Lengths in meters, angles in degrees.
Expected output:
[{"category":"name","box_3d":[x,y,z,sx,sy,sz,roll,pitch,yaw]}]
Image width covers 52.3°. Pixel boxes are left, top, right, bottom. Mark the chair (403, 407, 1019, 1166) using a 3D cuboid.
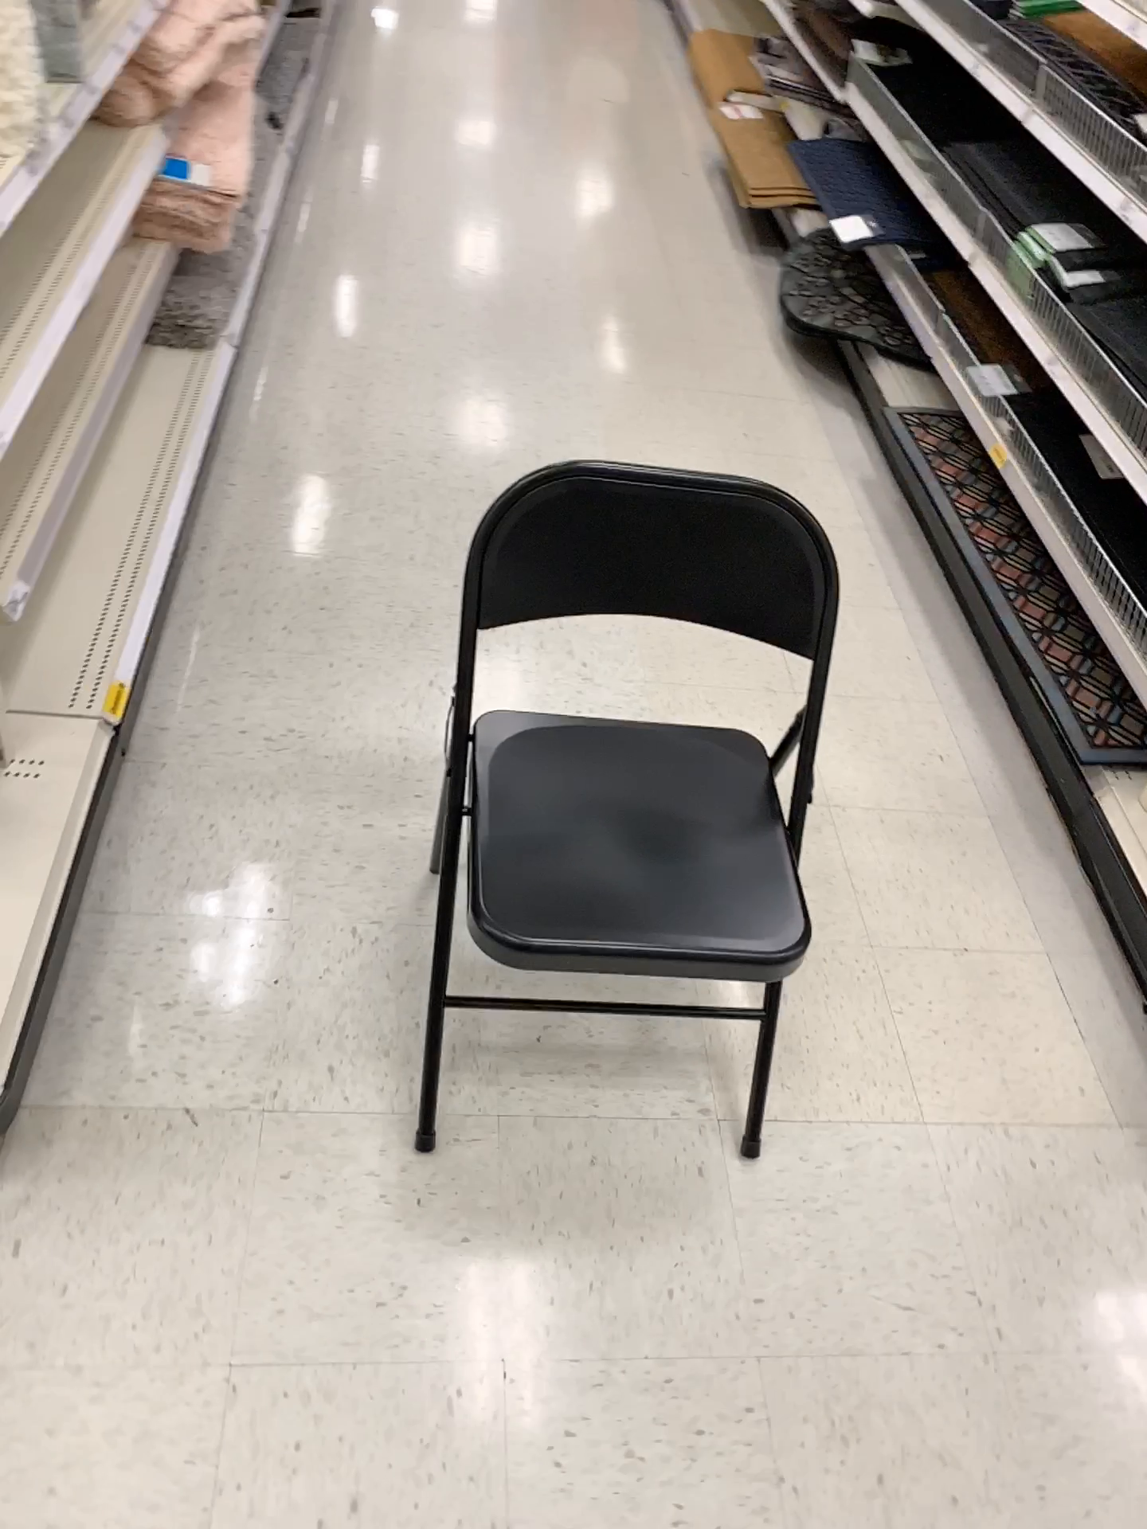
[{"category":"chair","box_3d":[0.070,0.057,1.420,0.490,0.716,0.553,4,44,-9]}]
